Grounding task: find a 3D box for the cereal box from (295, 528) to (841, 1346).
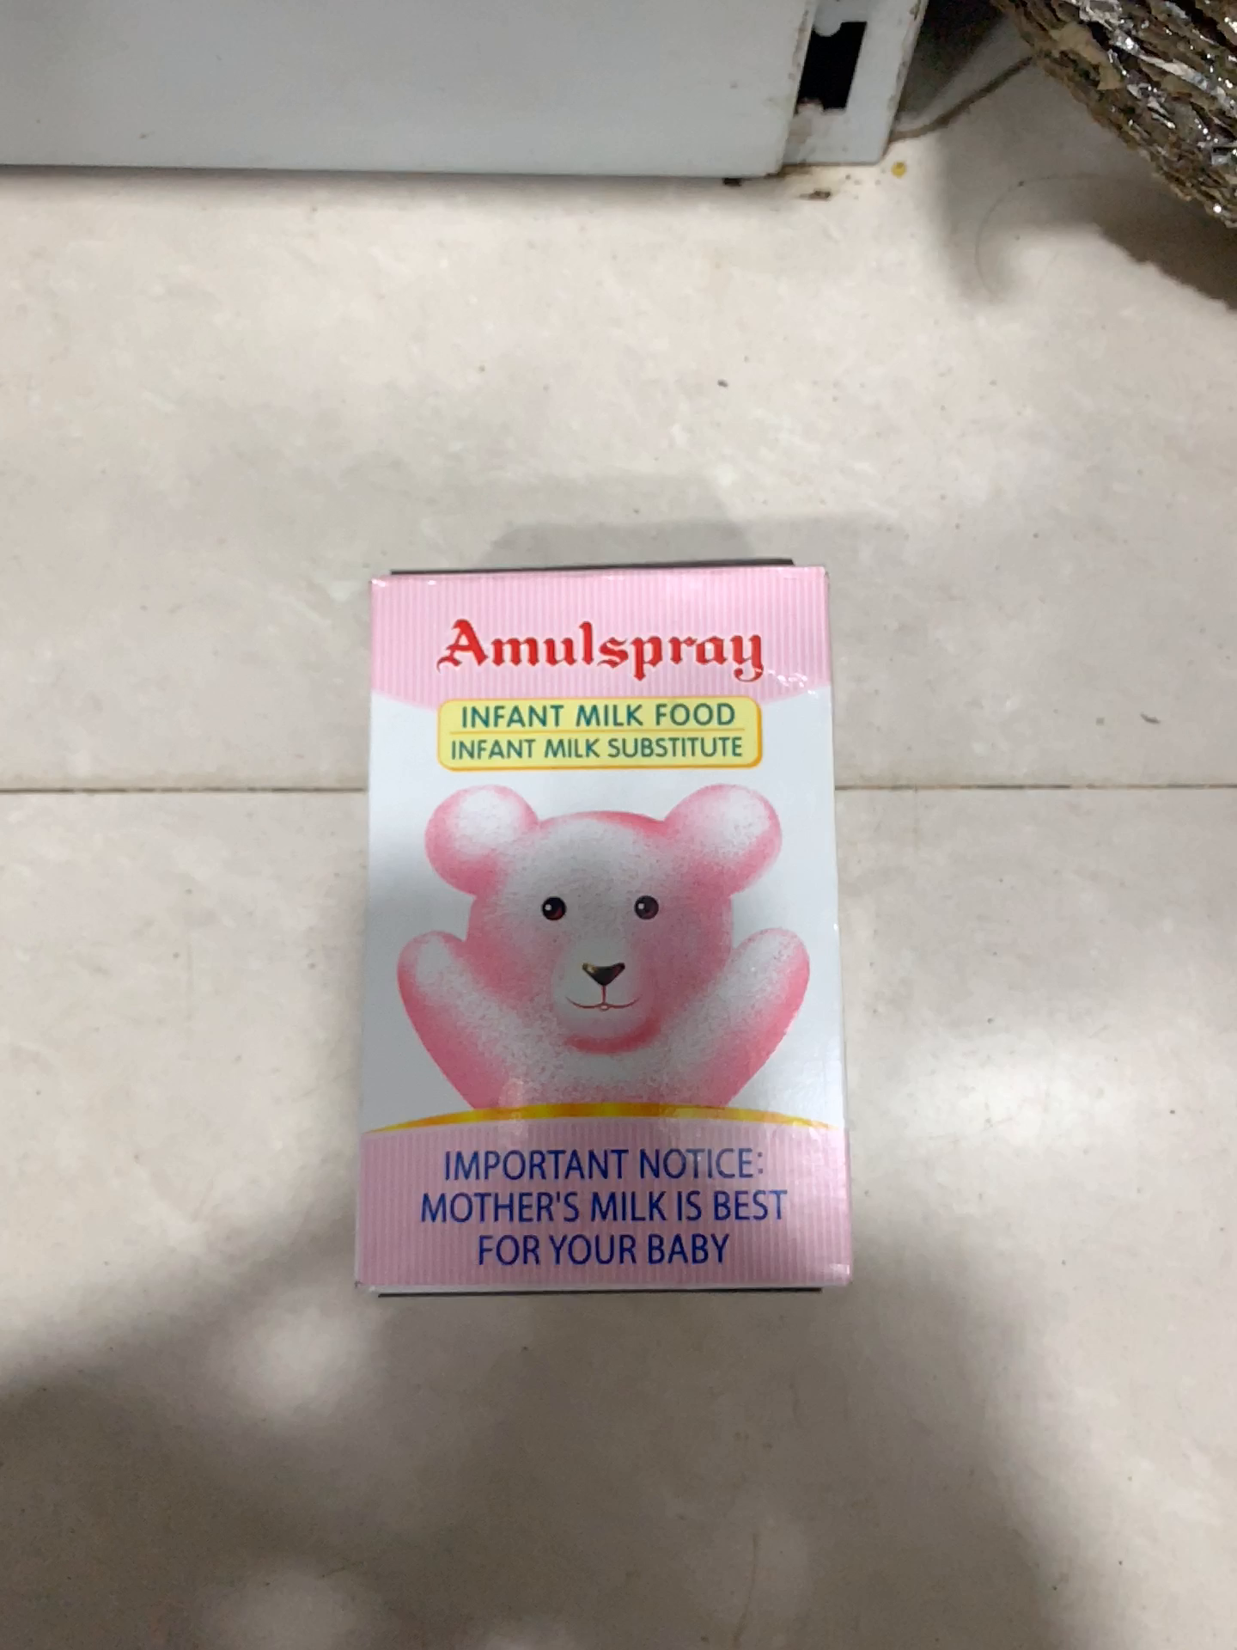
[{"bbox_3d":[-0.010,0.020,0.248,0.090,0.050,0.140,-1,81,1],"label":"cereal box"}]
